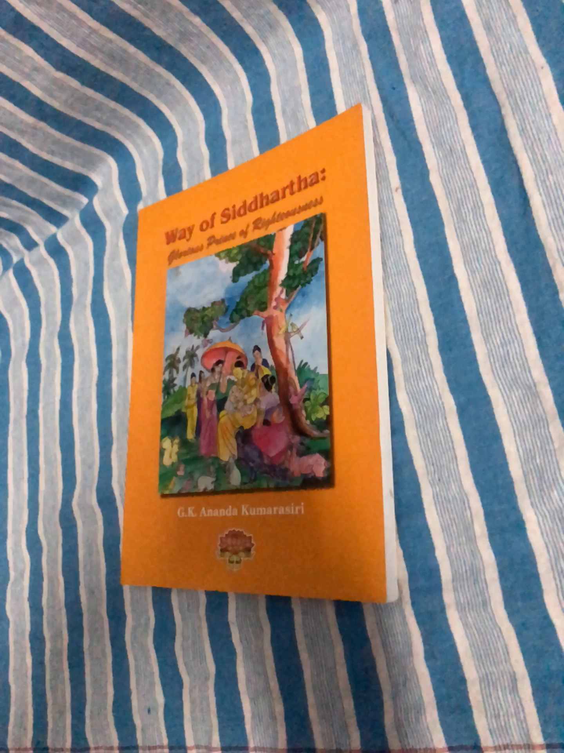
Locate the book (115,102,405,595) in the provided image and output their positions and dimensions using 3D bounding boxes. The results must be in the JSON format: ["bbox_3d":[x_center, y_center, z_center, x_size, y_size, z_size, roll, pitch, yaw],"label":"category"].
[{"bbox_3d":[-0.024,-0.009,0.332,0.170,0.010,0.230,-11,73,34],"label":"book"}]
